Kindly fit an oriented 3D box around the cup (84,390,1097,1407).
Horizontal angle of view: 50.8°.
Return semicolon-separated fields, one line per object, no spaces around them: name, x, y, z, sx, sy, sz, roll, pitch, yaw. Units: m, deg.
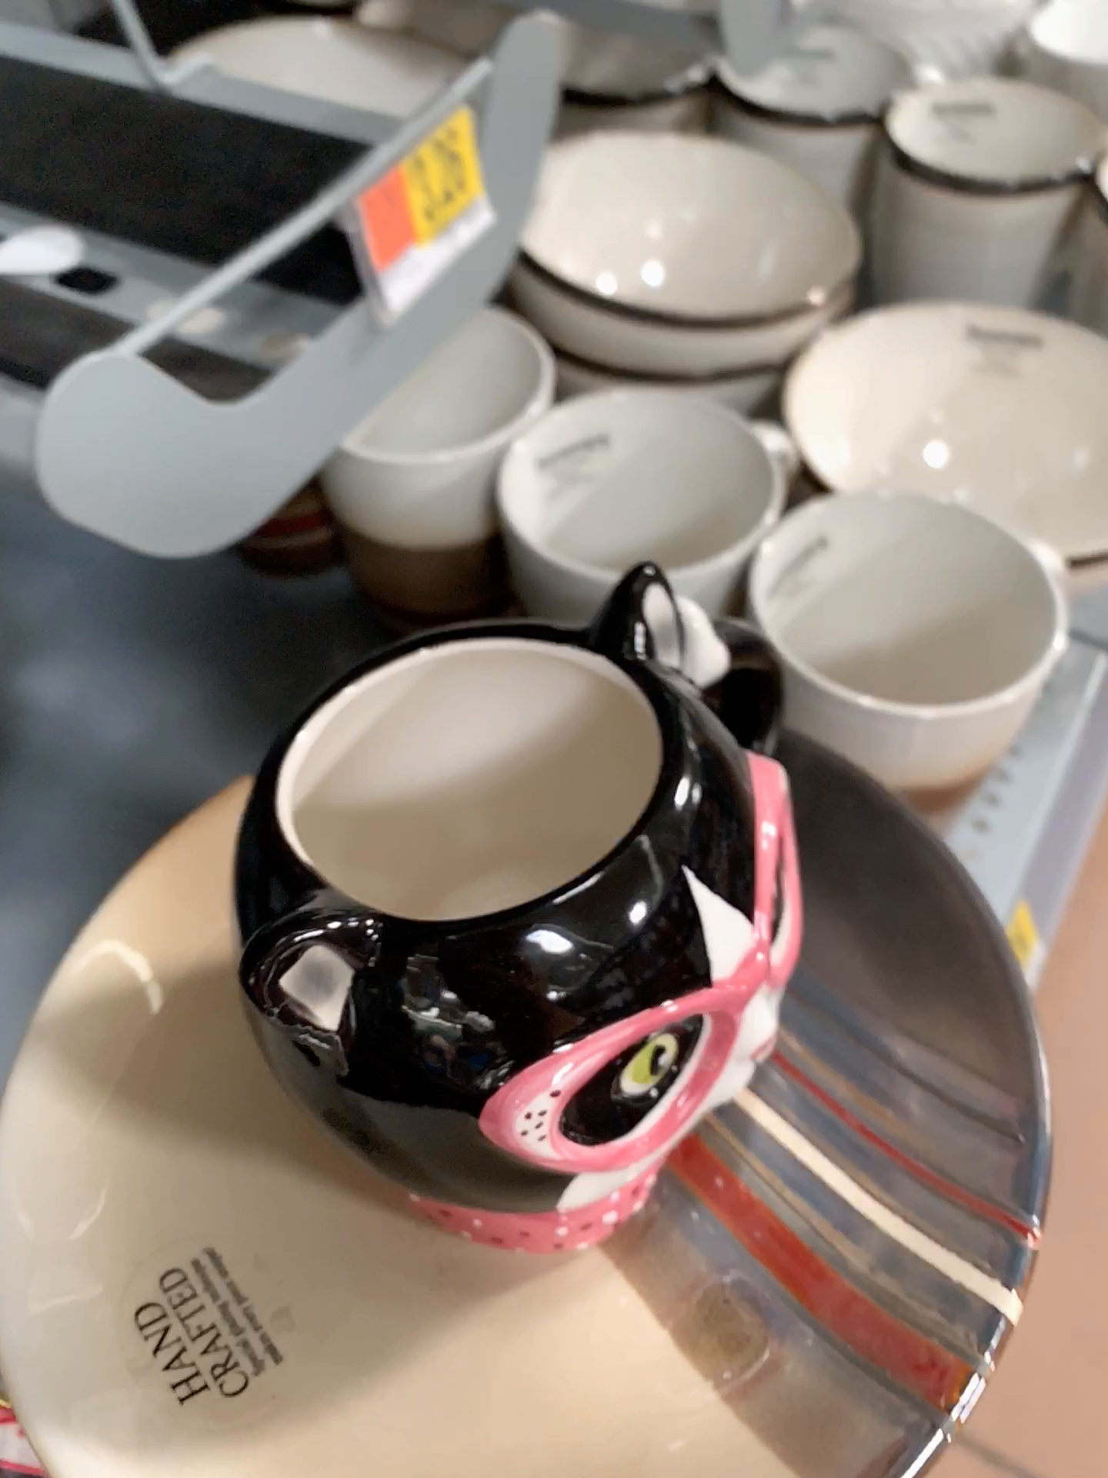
cup;0.013;0.020;0.217;0.096;0.074;0.144;31;60;23
